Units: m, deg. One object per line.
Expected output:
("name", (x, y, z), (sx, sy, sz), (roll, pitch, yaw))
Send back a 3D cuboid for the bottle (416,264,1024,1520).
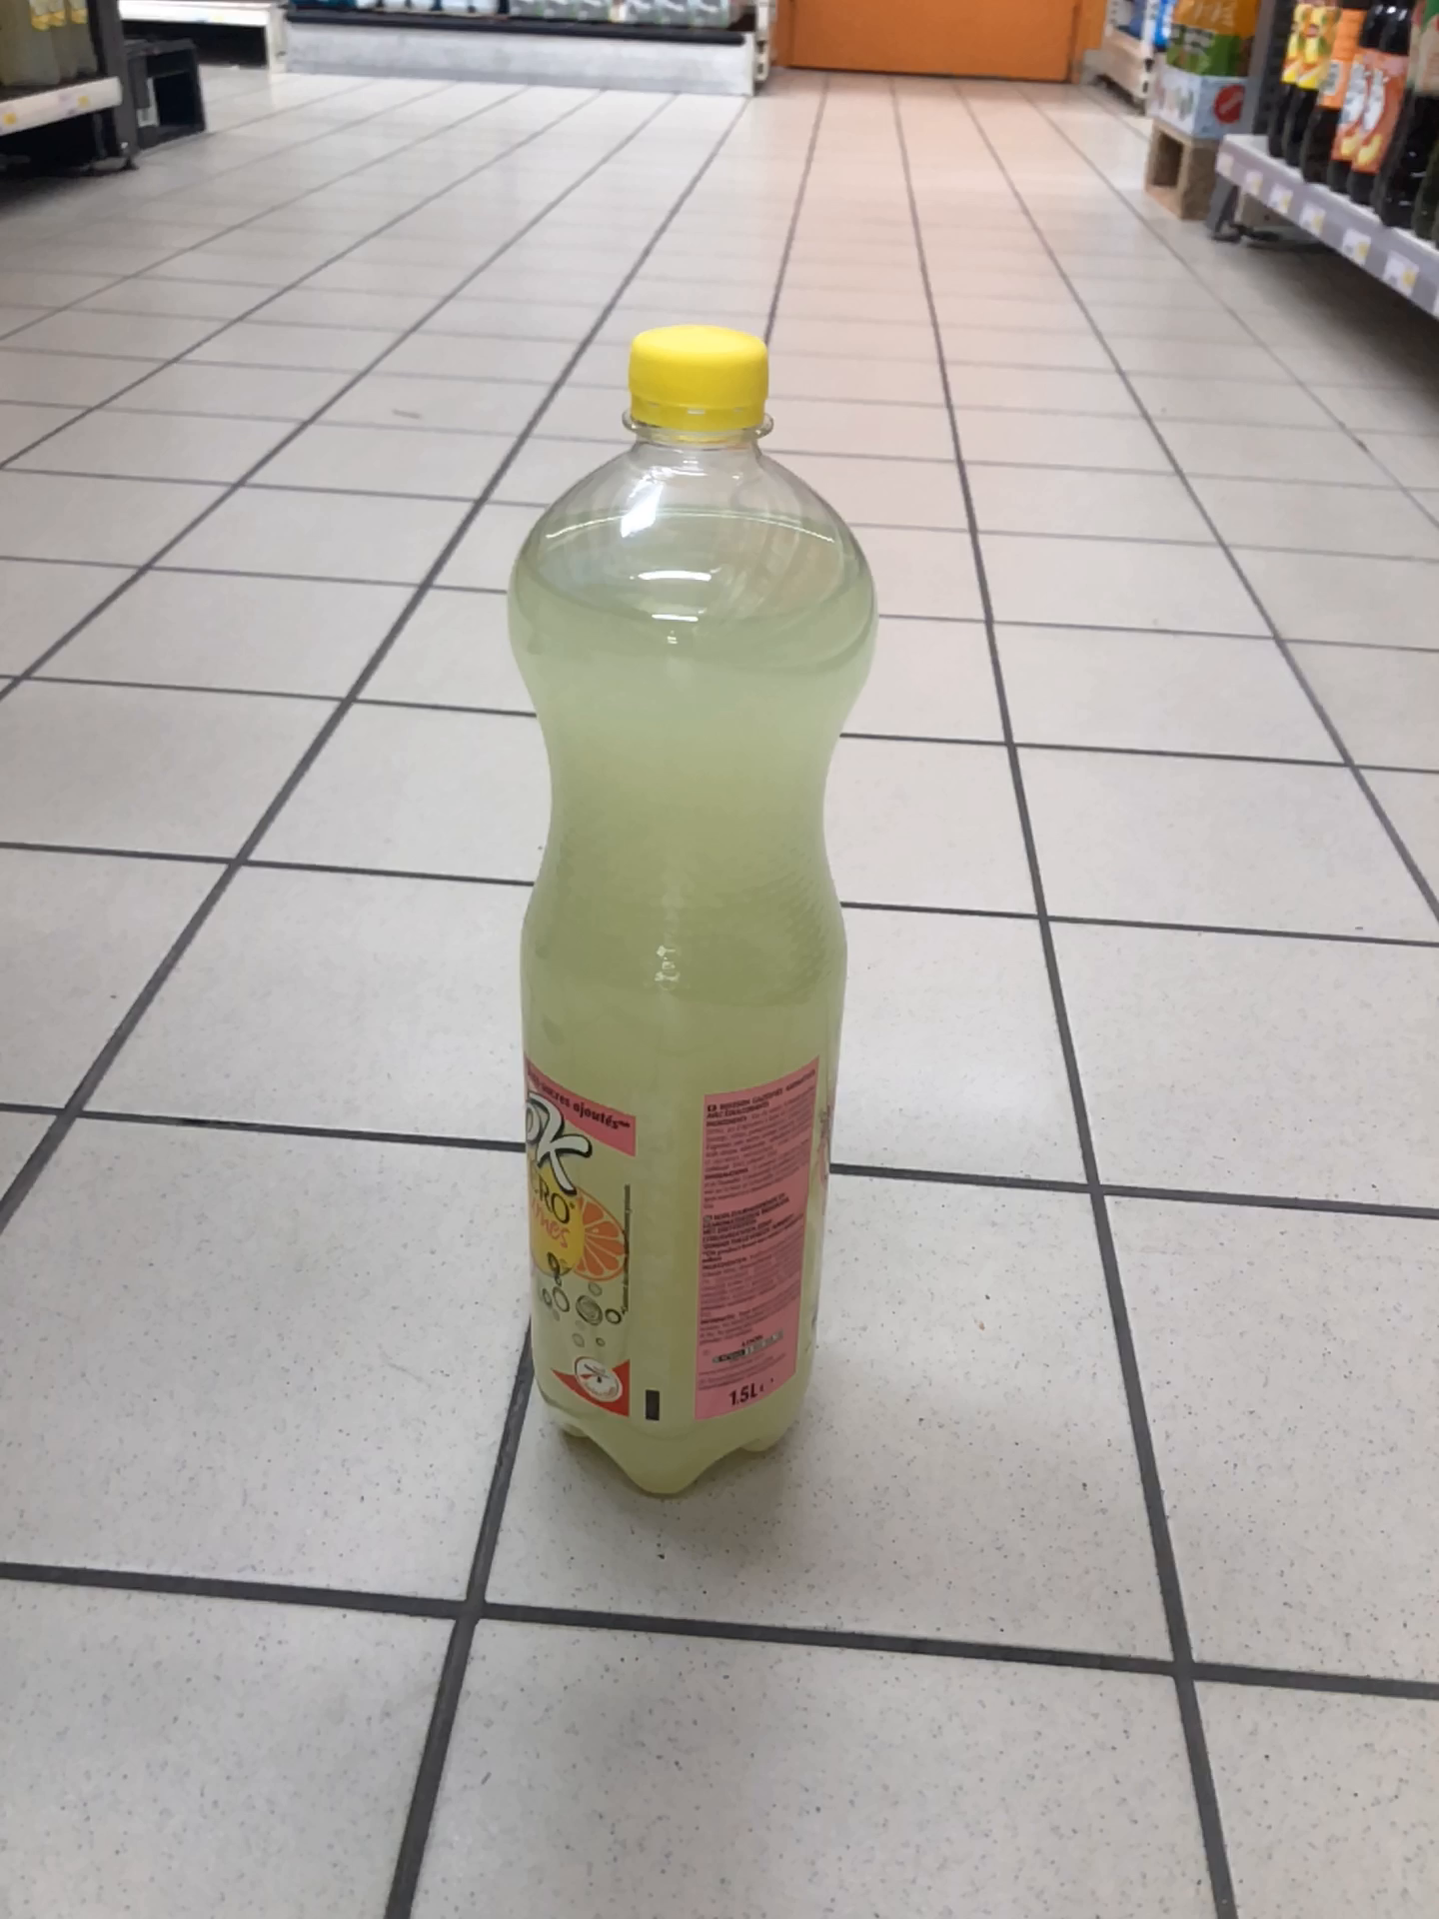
("bottle", (-0.012, -0.009, 0.409), (0.100, 0.298, 0.110), (-7, 33, -15))
